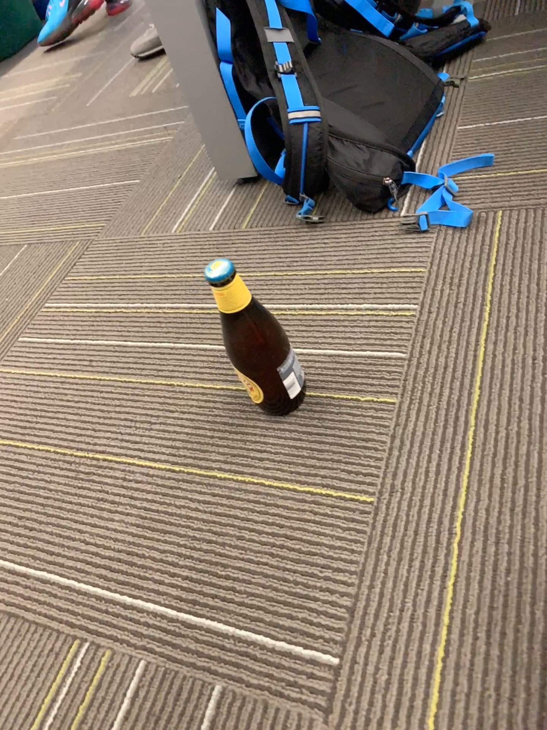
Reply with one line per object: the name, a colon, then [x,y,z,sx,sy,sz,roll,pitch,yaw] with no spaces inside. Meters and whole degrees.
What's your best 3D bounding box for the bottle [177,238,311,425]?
bottle: [-0.021,-0.025,0.554,0.070,0.179,0.070,-12,46,13]
